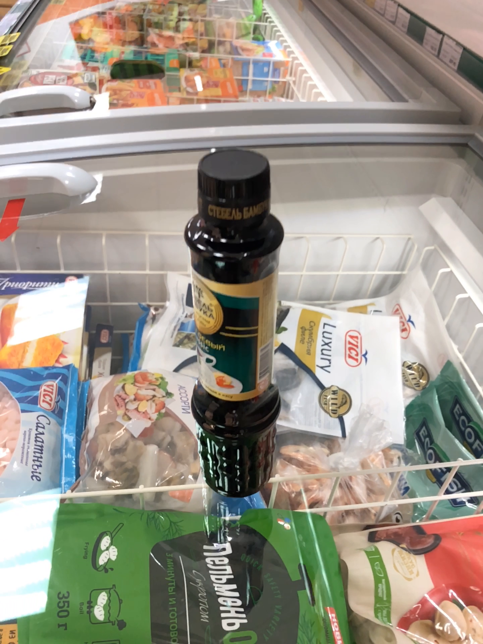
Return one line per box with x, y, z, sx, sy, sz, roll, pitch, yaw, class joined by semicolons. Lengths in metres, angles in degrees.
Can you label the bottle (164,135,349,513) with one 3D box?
0.000;0.015;0.278;0.053;0.199;0.058;2;42;-2;bottle
